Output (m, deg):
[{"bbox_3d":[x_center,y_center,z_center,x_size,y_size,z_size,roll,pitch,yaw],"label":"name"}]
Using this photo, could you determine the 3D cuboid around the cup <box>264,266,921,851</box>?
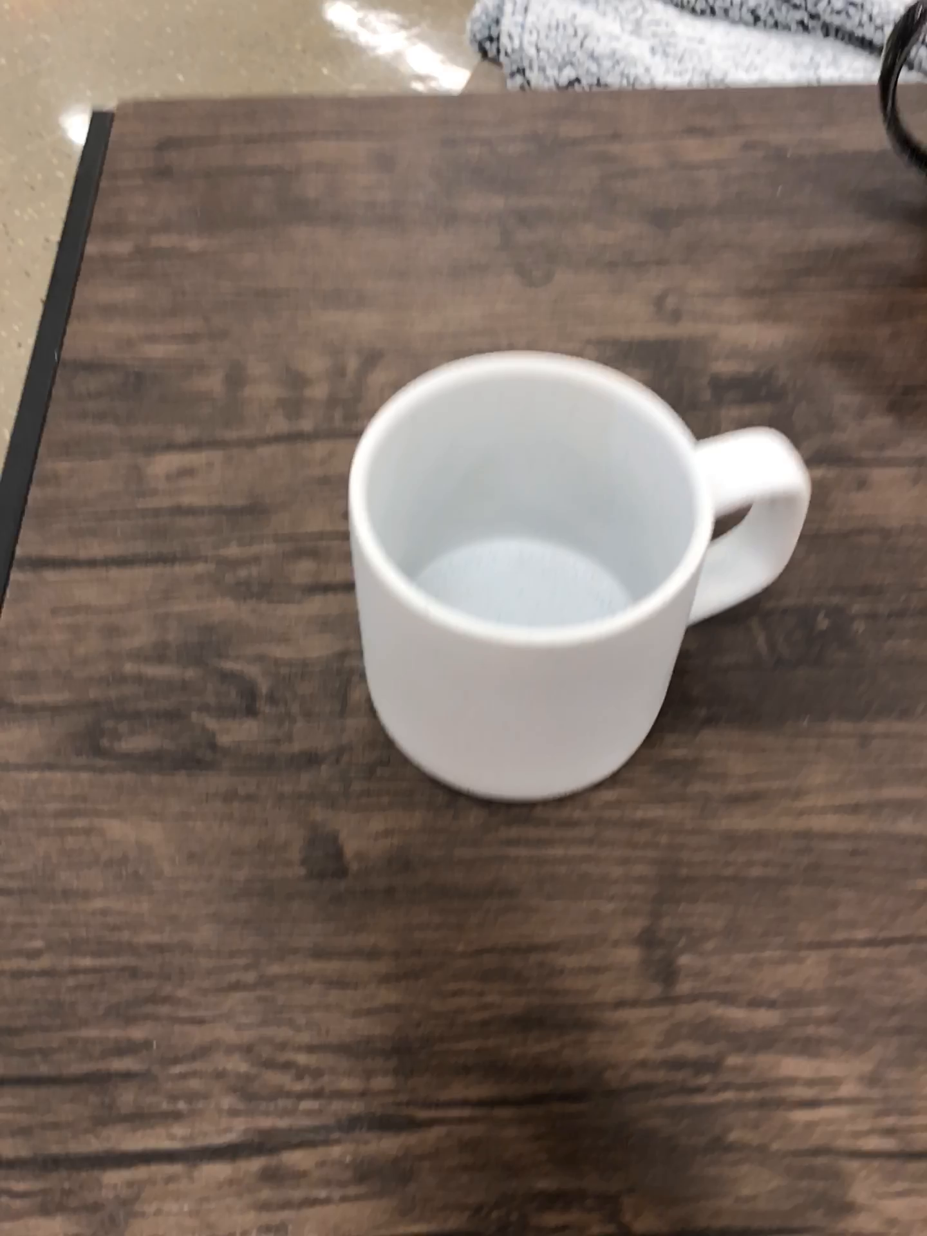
[{"bbox_3d":[0.027,-0.014,0.286,0.130,0.100,0.090,-17,60,-10],"label":"cup"}]
